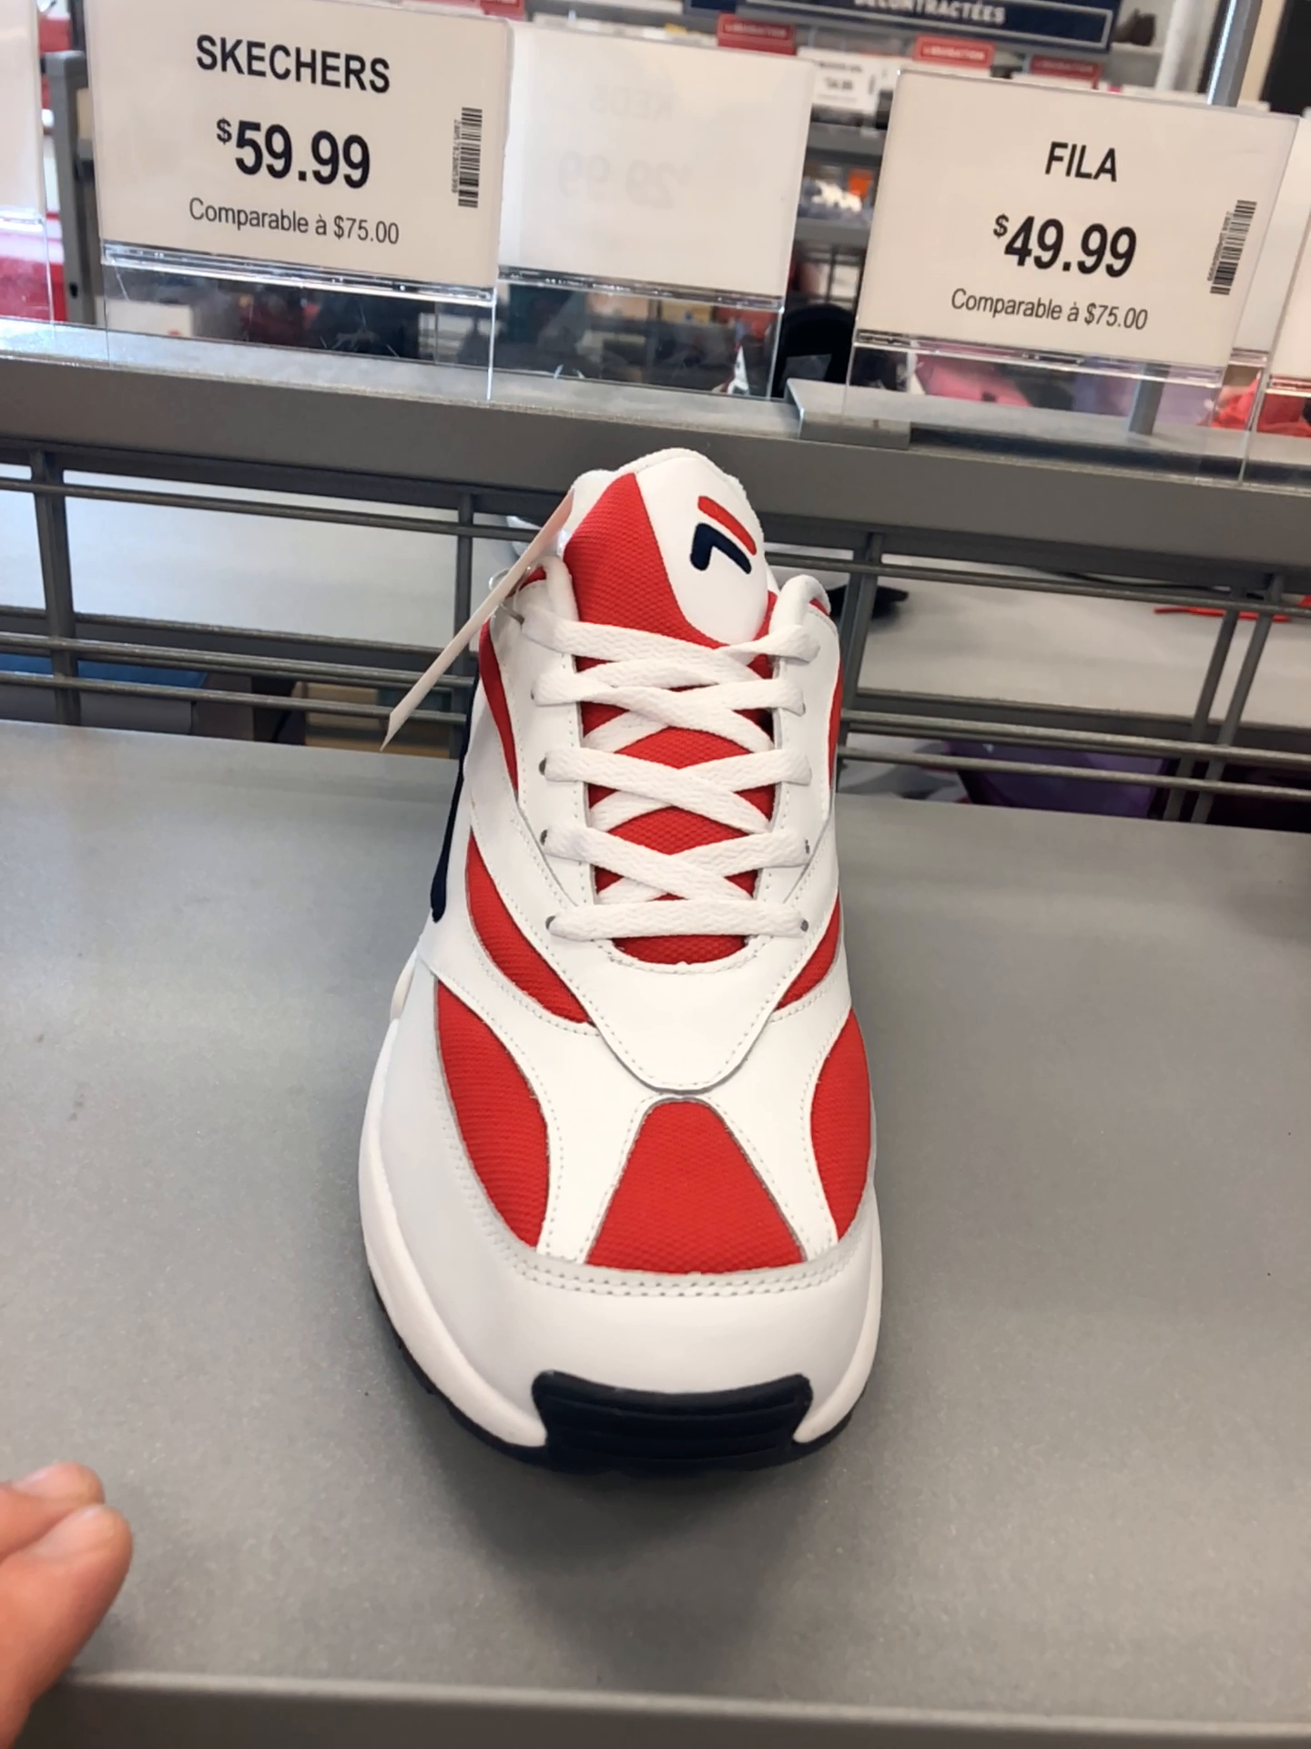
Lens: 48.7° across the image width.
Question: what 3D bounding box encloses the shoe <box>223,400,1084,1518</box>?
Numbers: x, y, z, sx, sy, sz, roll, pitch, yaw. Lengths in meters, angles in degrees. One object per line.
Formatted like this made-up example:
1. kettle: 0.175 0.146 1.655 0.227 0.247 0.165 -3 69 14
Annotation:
1. shoe: -0.008 -0.010 0.350 0.120 0.129 0.272 5 31 -4
